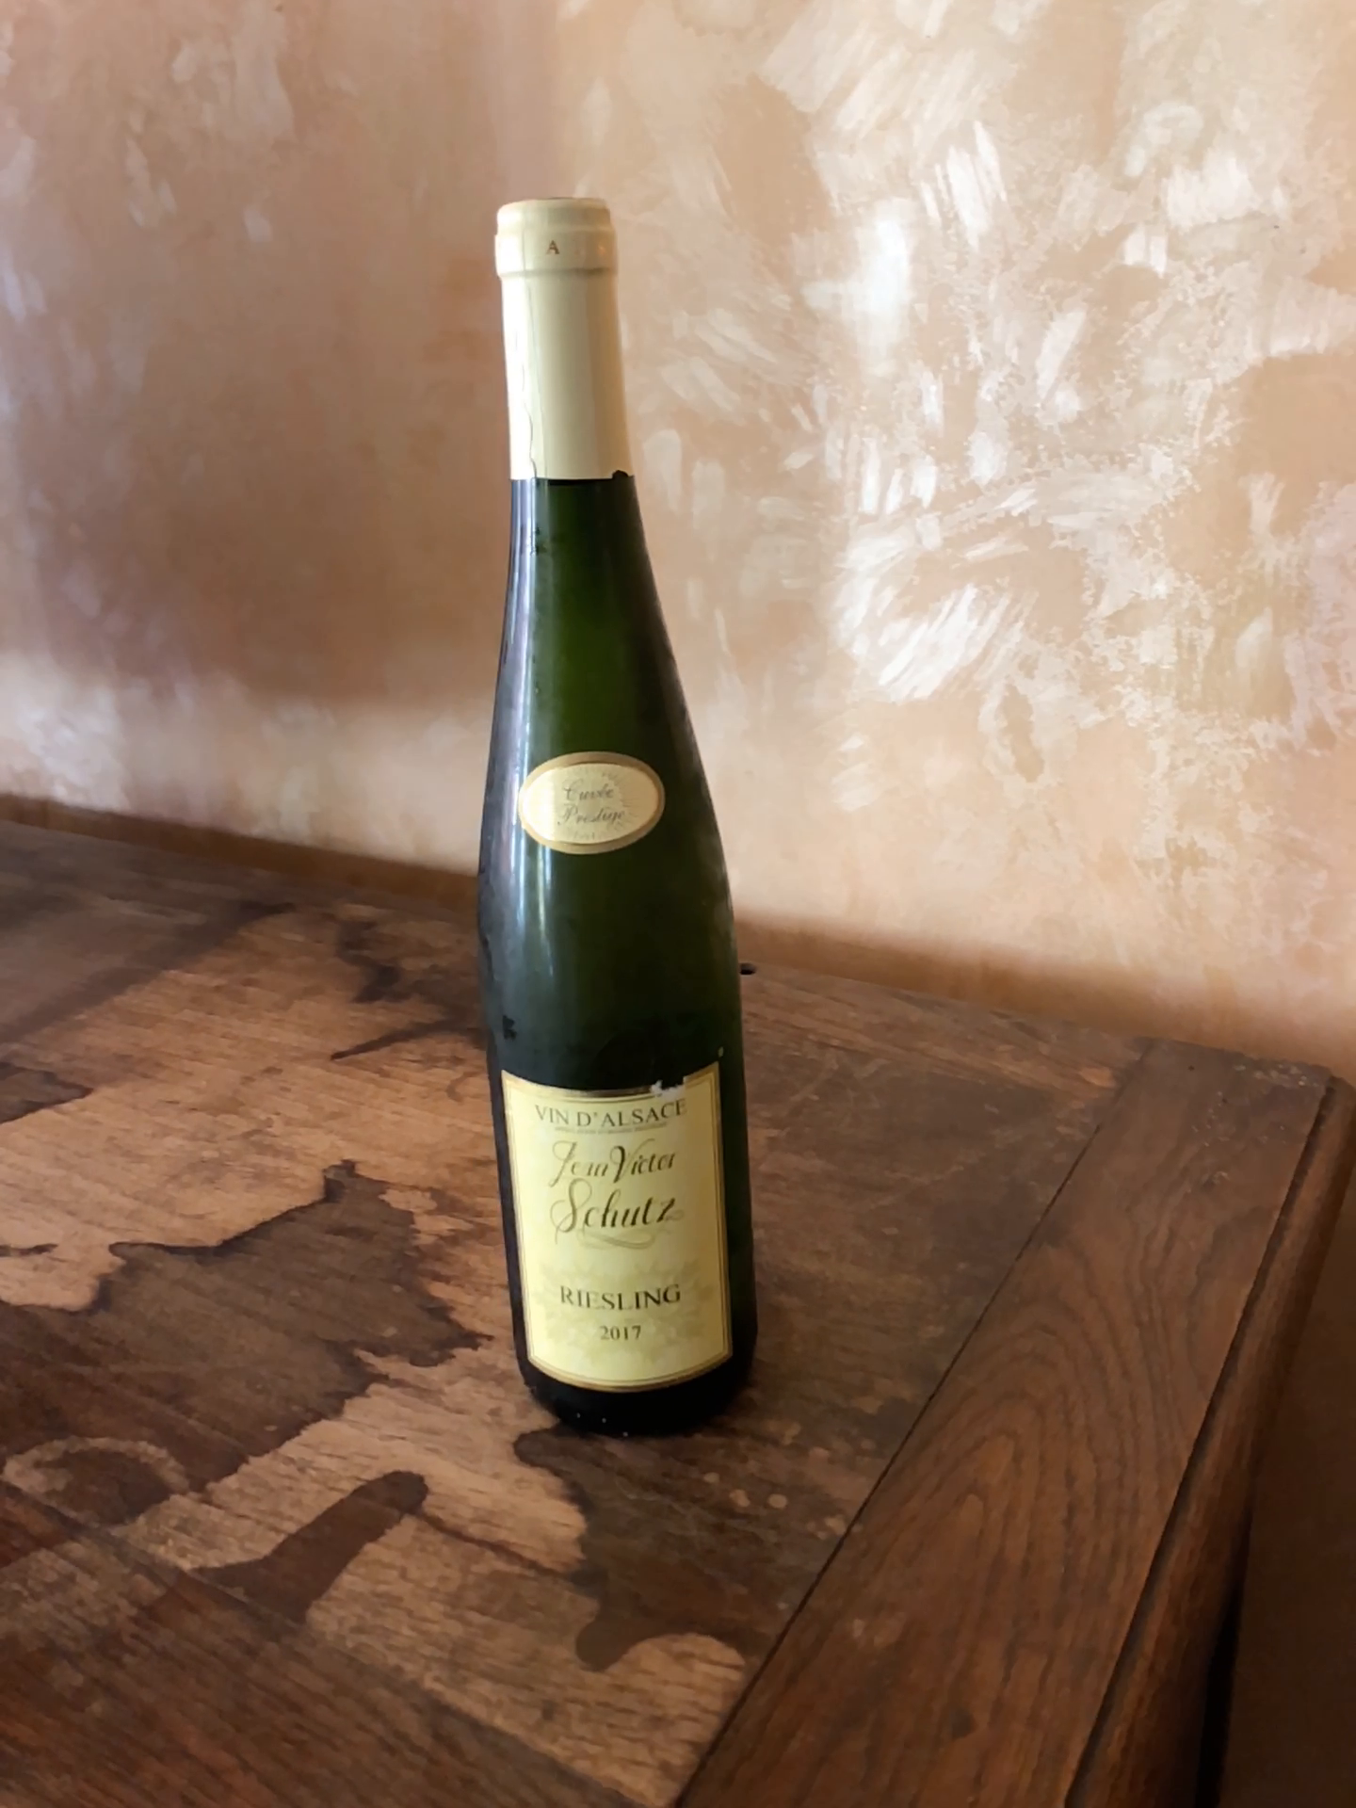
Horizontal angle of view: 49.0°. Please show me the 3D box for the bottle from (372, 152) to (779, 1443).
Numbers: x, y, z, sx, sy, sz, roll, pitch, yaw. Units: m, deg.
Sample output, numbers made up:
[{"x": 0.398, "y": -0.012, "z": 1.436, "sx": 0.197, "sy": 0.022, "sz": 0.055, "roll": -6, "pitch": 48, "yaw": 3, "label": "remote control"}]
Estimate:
[{"x": -0.015, "y": -0.015, "z": 0.392, "sx": 0.080, "sy": 0.318, "sz": 0.080, "roll": -2, "pitch": 21, "yaw": 1, "label": "bottle"}]
